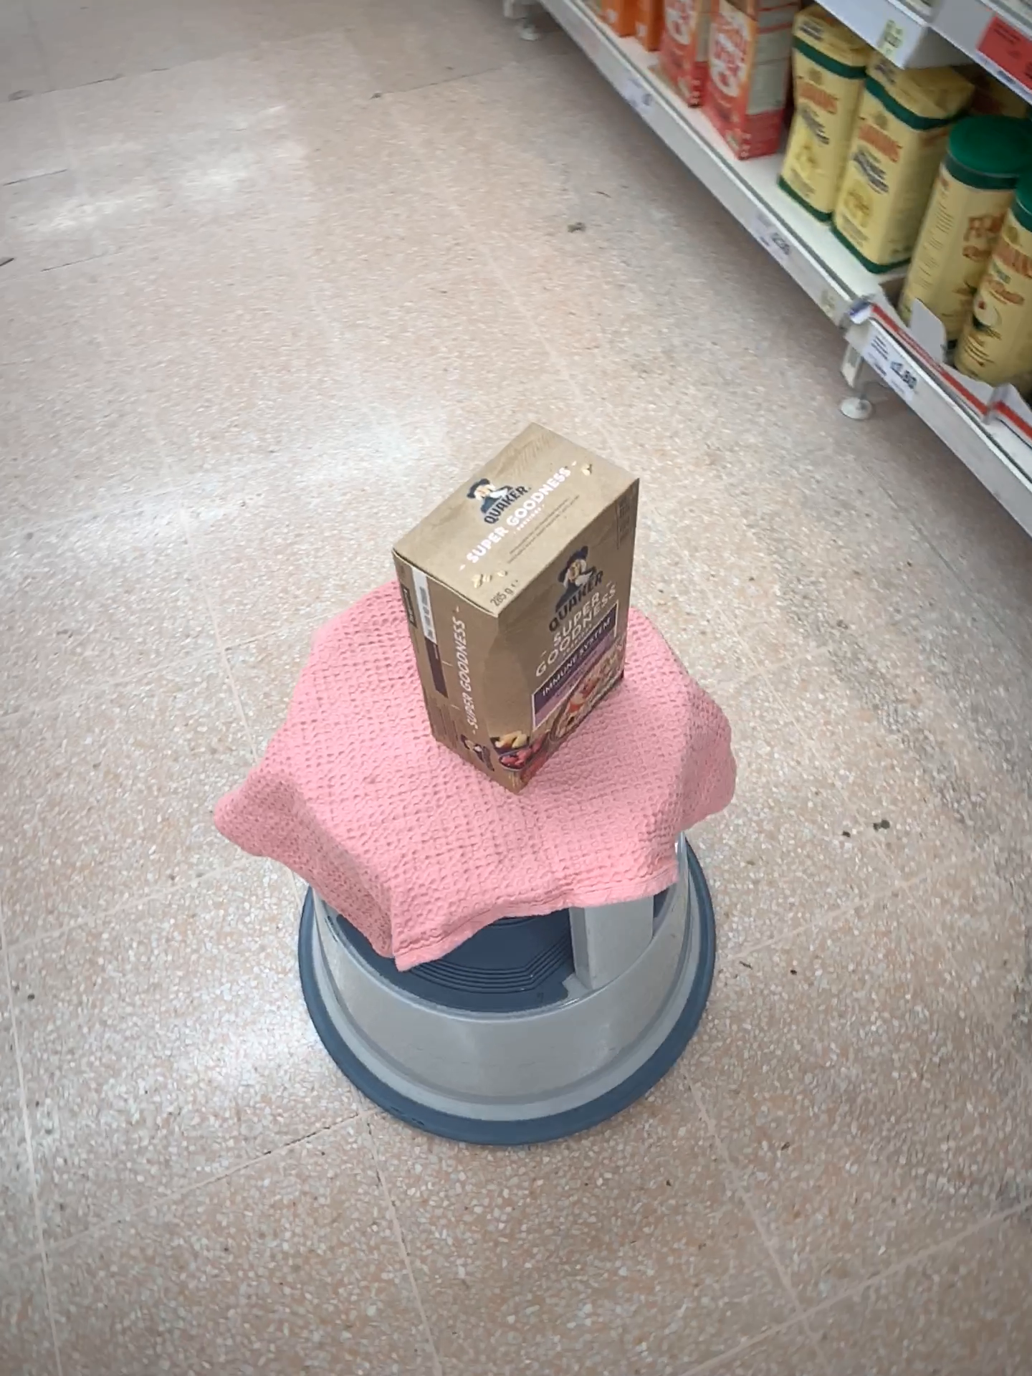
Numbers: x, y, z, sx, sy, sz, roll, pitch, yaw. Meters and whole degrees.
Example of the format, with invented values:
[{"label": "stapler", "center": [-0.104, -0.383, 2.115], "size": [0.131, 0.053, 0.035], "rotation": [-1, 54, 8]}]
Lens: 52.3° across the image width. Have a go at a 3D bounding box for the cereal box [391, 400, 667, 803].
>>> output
[{"label": "cereal box", "center": [0.011, -0.046, 0.662], "size": [0.090, 0.209, 0.131], "rotation": [33, 64, 21]}]
